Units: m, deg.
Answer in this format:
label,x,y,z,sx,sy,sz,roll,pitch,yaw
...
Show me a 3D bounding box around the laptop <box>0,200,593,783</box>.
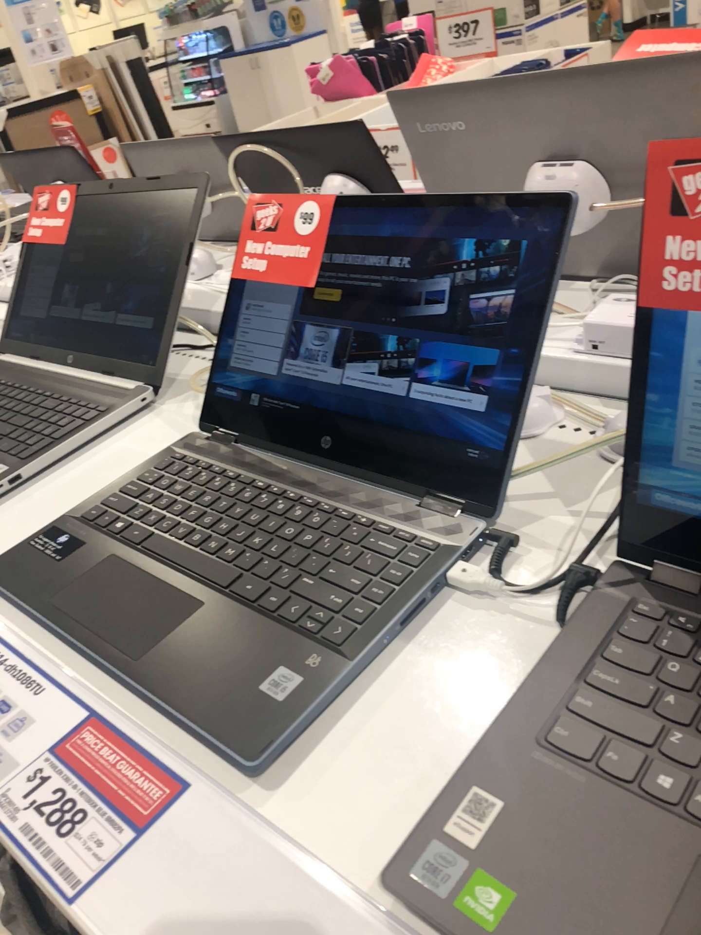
label,x,y,z,sx,sy,sz,roll,pitch,yaw
laptop,-0.071,-0.042,0.525,0.315,0.165,0.349,16,42,40
